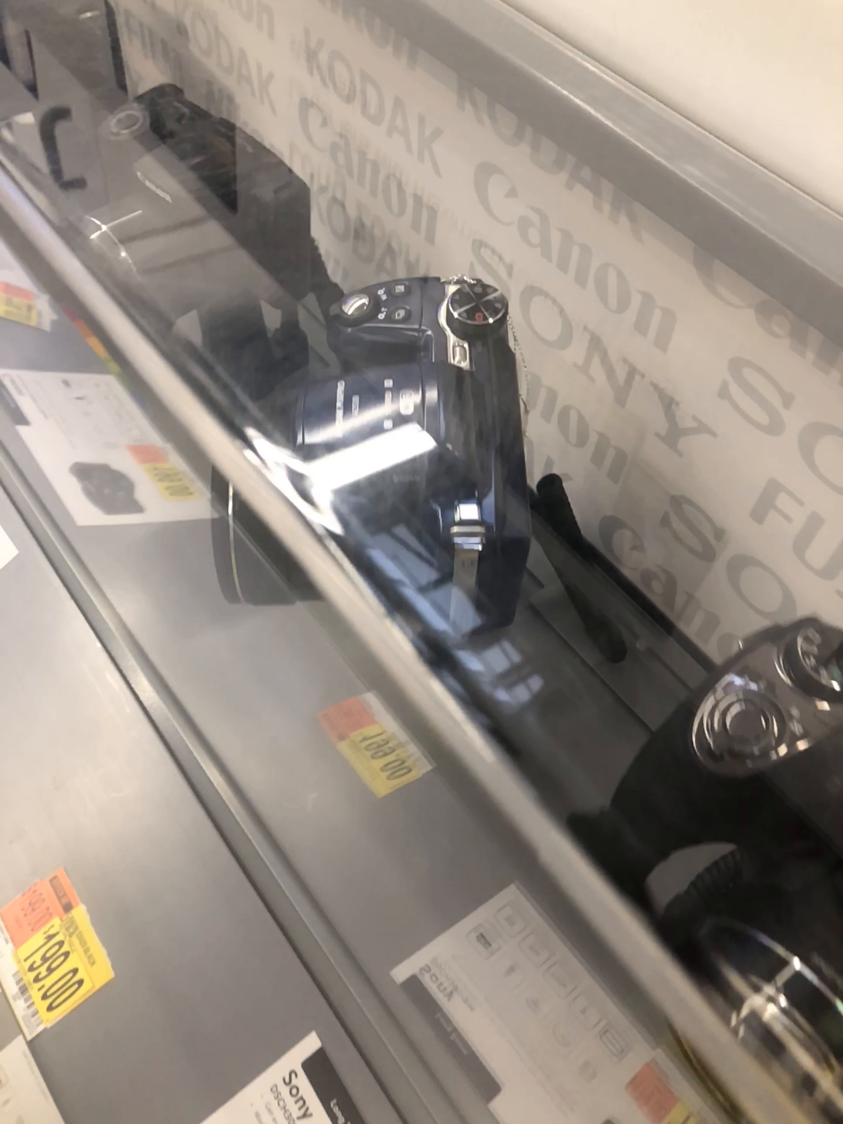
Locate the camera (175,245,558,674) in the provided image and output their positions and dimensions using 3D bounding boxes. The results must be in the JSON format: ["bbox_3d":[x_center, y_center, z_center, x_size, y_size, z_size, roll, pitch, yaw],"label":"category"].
[{"bbox_3d":[-0.022,-0.038,0.339,0.110,0.080,0.131,2,52,-7],"label":"camera"}]
